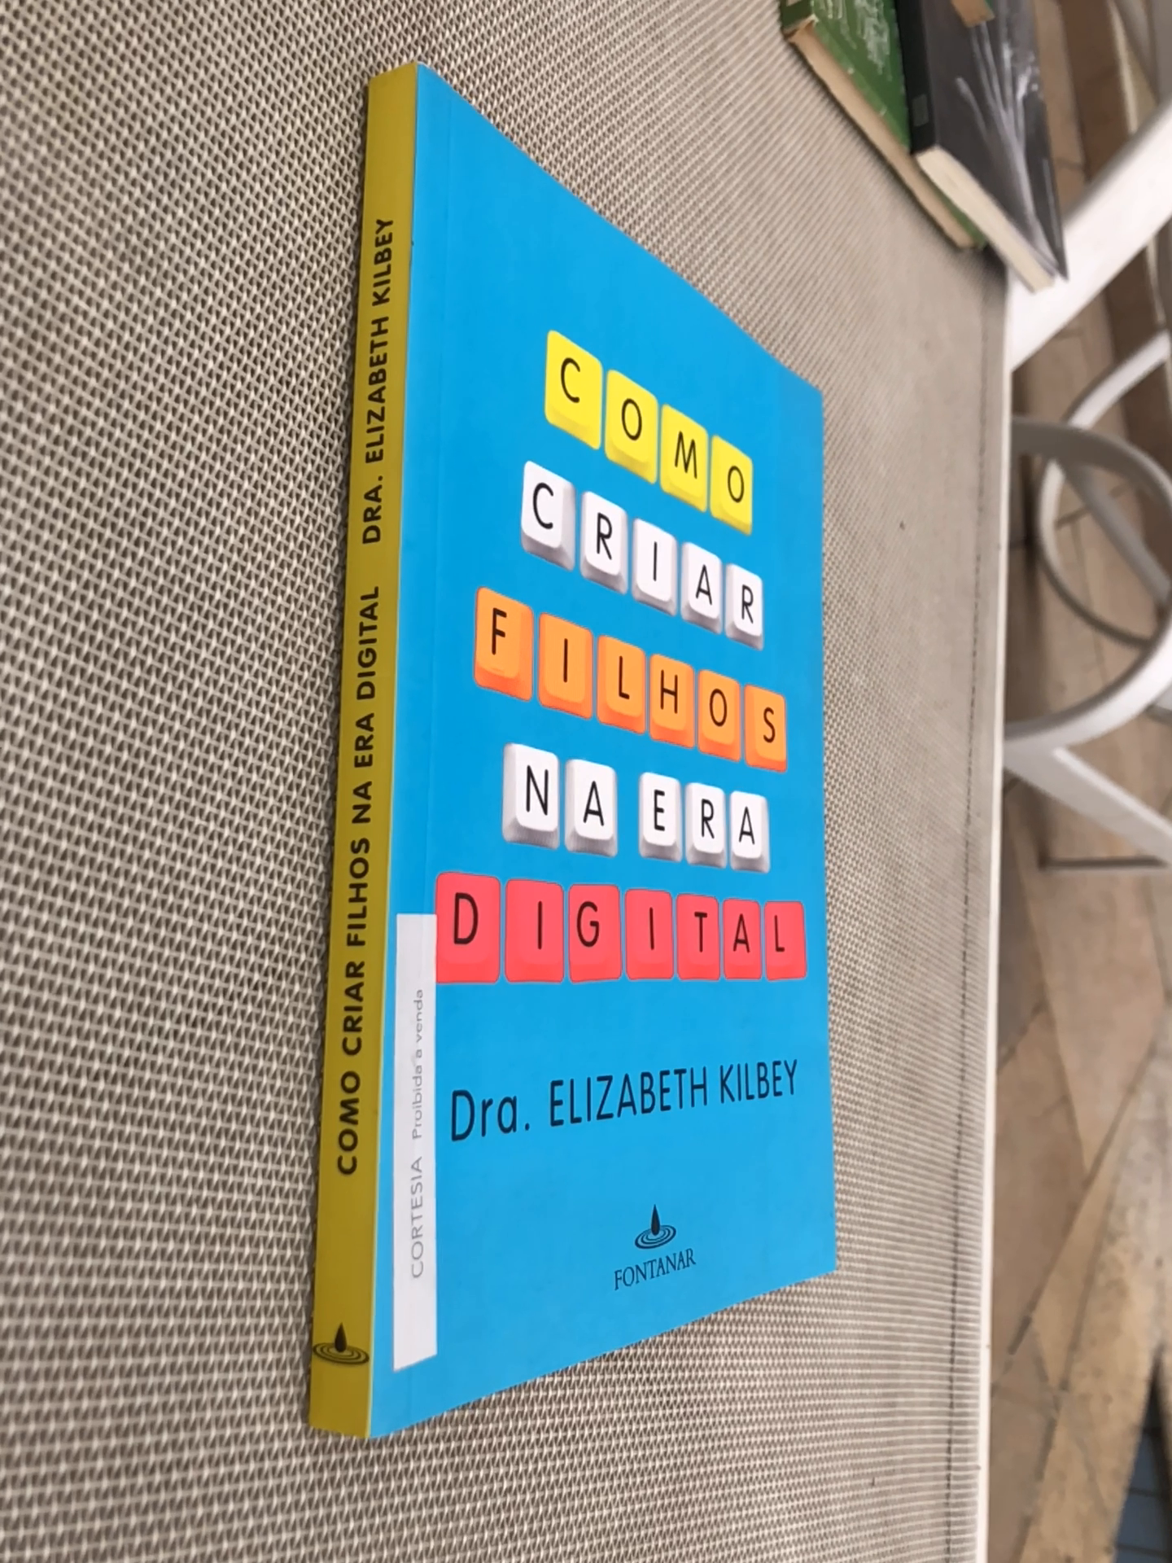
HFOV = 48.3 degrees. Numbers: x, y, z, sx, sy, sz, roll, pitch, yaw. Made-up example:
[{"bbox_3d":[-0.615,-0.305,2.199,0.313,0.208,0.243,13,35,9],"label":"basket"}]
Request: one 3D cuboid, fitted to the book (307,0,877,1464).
[{"bbox_3d":[0.015,-0.008,0.270,0.164,0.020,0.228,12,75,-54],"label":"book"}]
